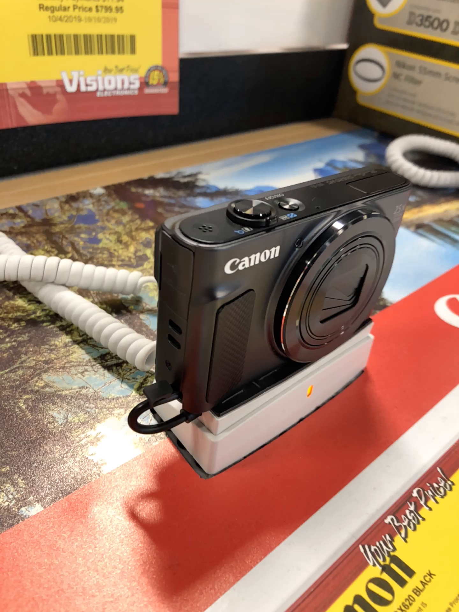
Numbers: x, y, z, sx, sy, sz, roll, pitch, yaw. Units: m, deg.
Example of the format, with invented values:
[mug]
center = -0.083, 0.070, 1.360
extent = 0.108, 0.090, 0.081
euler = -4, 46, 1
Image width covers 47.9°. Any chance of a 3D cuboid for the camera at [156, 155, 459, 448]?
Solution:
[camera]
center = 0.027, -0.007, 0.168
extent = 0.100, 0.060, 0.030
euler = -23, 44, -35
